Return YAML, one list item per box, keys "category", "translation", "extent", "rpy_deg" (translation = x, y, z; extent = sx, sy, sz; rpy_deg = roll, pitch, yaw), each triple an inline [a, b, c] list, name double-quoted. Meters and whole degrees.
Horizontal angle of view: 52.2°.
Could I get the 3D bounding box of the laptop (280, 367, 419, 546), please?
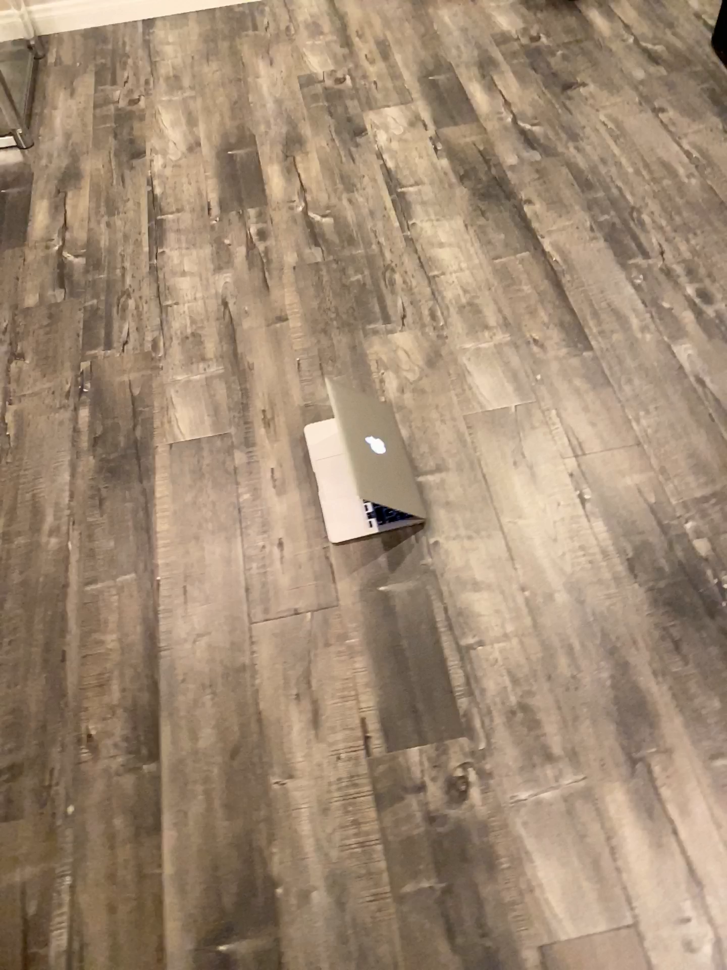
- category: "laptop"
  translation: [-0.028, -0.060, 1.422]
  extent: [0.193, 0.132, 0.293]
  rpy_deg: [-13, 55, -6]
